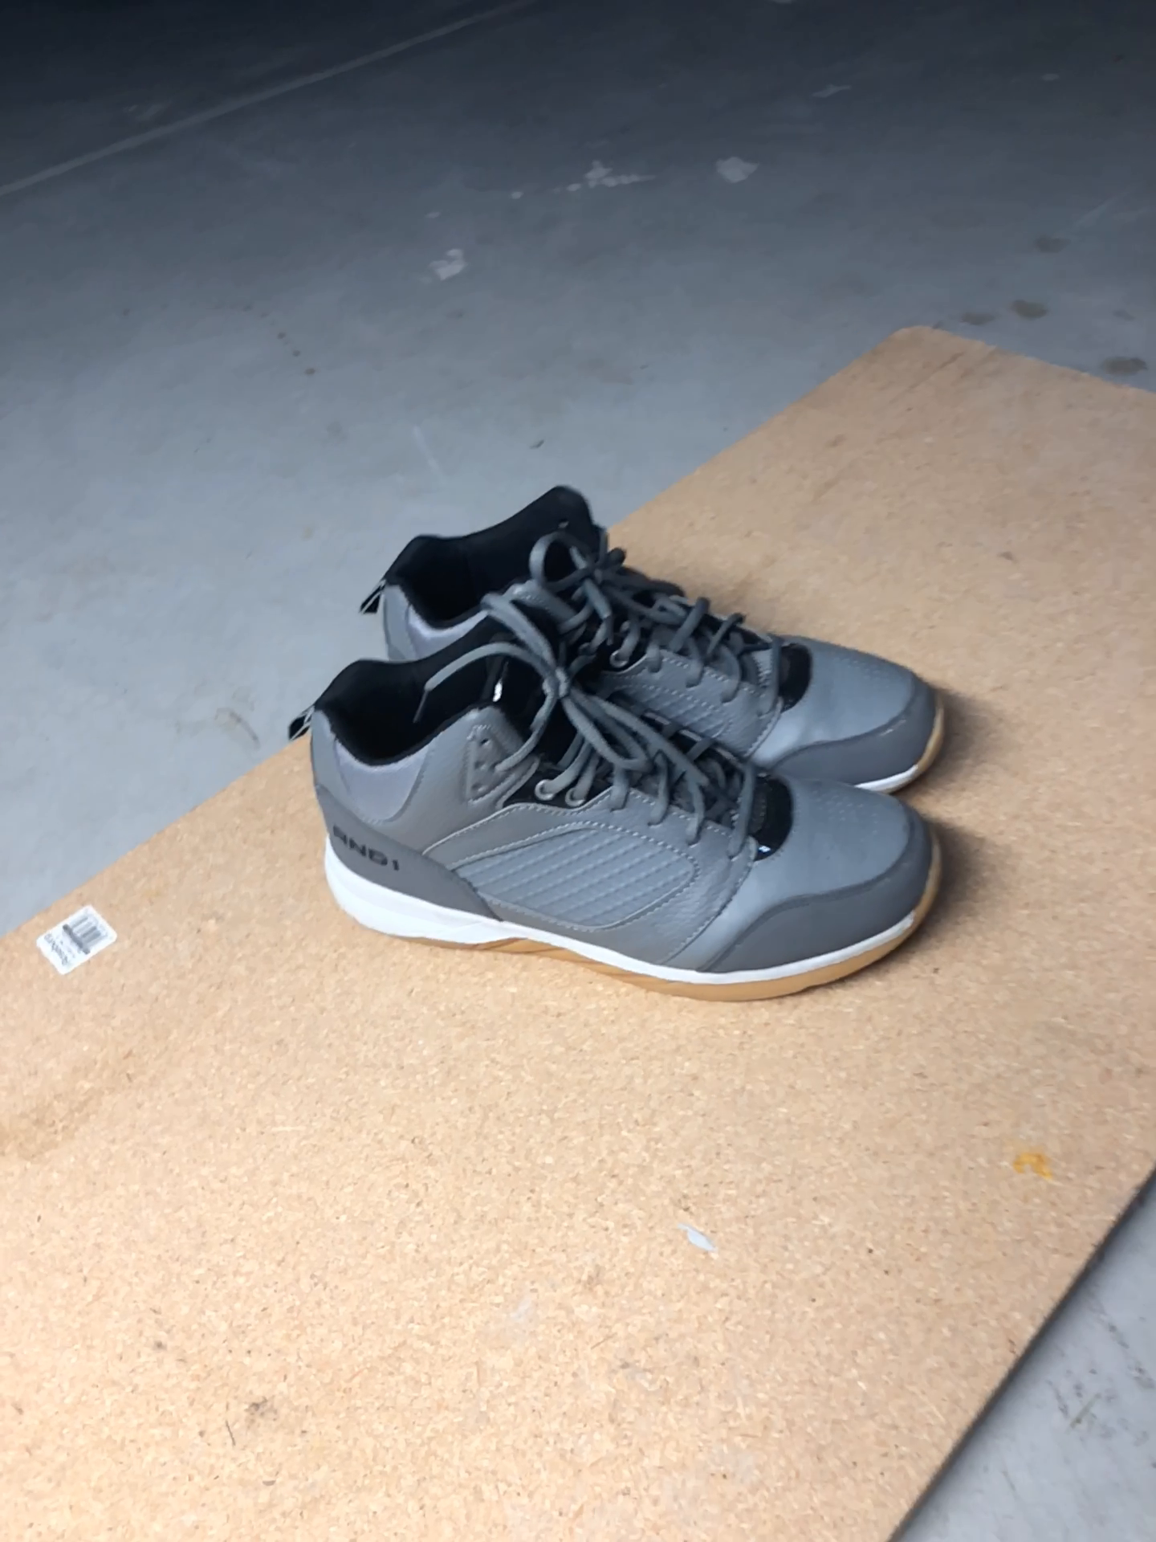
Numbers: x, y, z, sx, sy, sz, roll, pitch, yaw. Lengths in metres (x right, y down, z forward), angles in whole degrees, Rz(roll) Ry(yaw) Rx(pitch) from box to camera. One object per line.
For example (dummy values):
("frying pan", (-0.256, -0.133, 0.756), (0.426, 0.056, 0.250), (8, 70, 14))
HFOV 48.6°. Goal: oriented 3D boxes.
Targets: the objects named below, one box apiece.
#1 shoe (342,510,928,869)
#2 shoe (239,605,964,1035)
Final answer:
("shoe", (0.036, -0.043, 0.643), (0.260, 0.140, 0.100), (3, 45, 12))
("shoe", (0.017, 0.016, 0.565), (0.280, 0.120, 0.110), (5, 46, 15))
